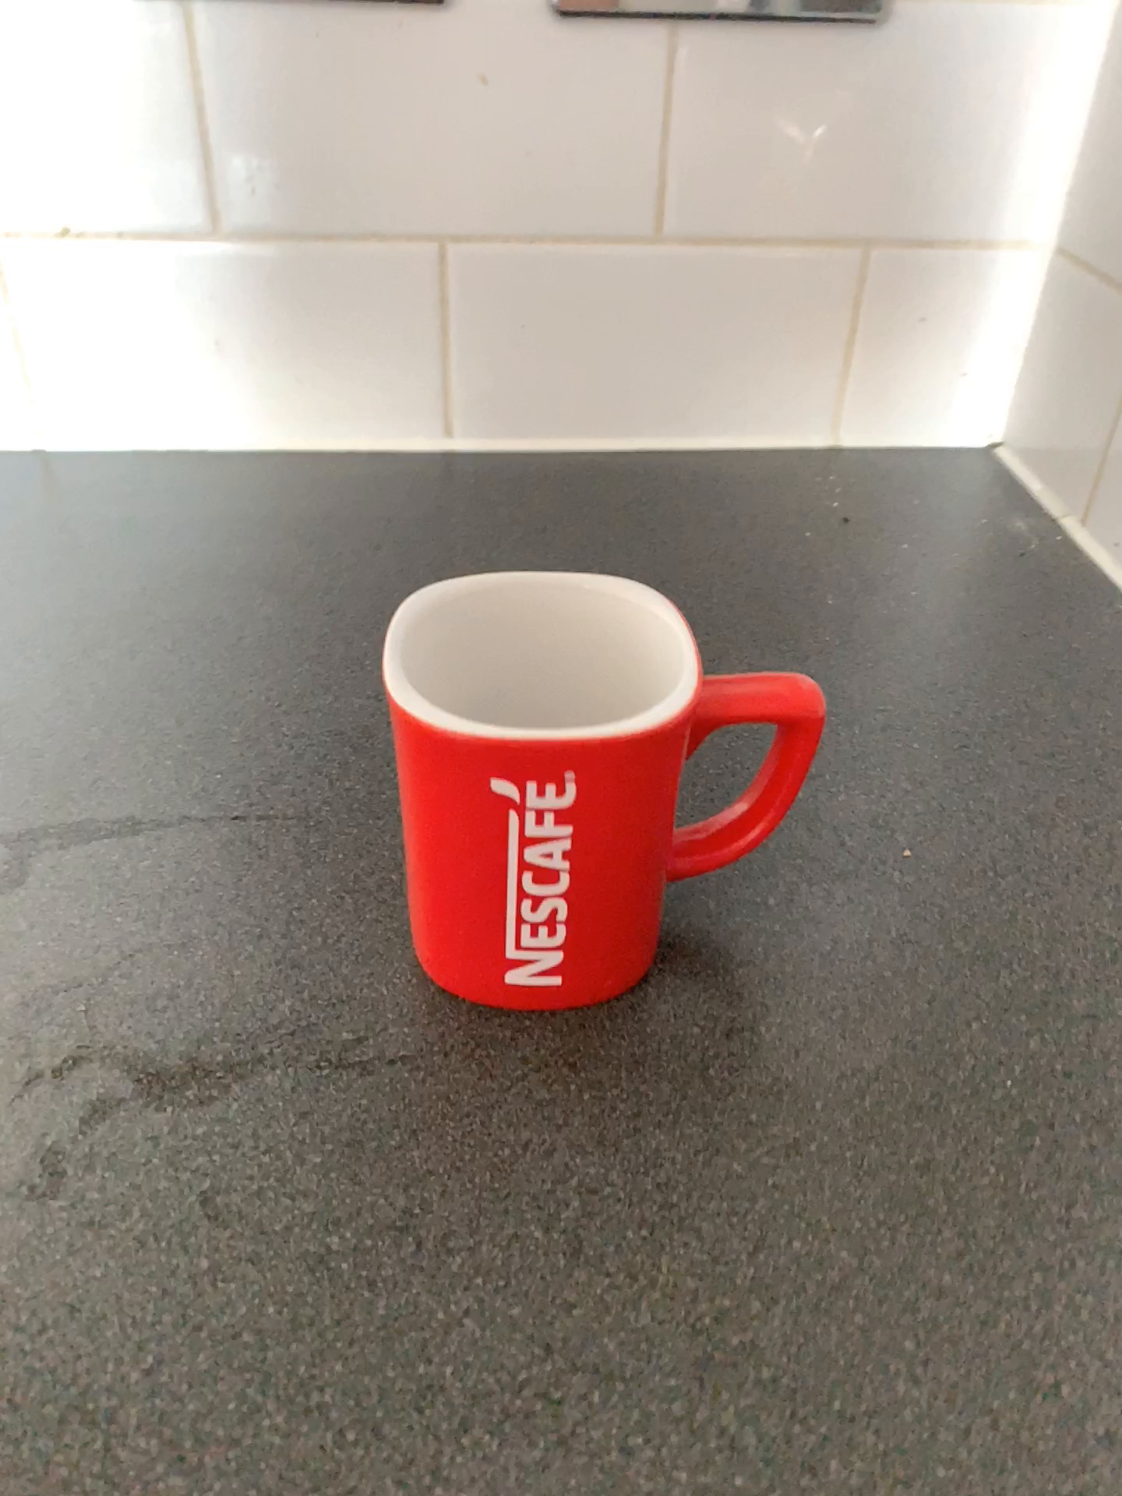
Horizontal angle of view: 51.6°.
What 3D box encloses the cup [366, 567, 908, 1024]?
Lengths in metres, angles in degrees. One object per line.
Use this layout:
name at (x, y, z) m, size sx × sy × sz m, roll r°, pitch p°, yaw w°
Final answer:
cup at (0.014, 0.012, 0.292) m, size 0.112 × 0.091 × 0.068 m, roll 1°, pitch 36°, yaw -2°
